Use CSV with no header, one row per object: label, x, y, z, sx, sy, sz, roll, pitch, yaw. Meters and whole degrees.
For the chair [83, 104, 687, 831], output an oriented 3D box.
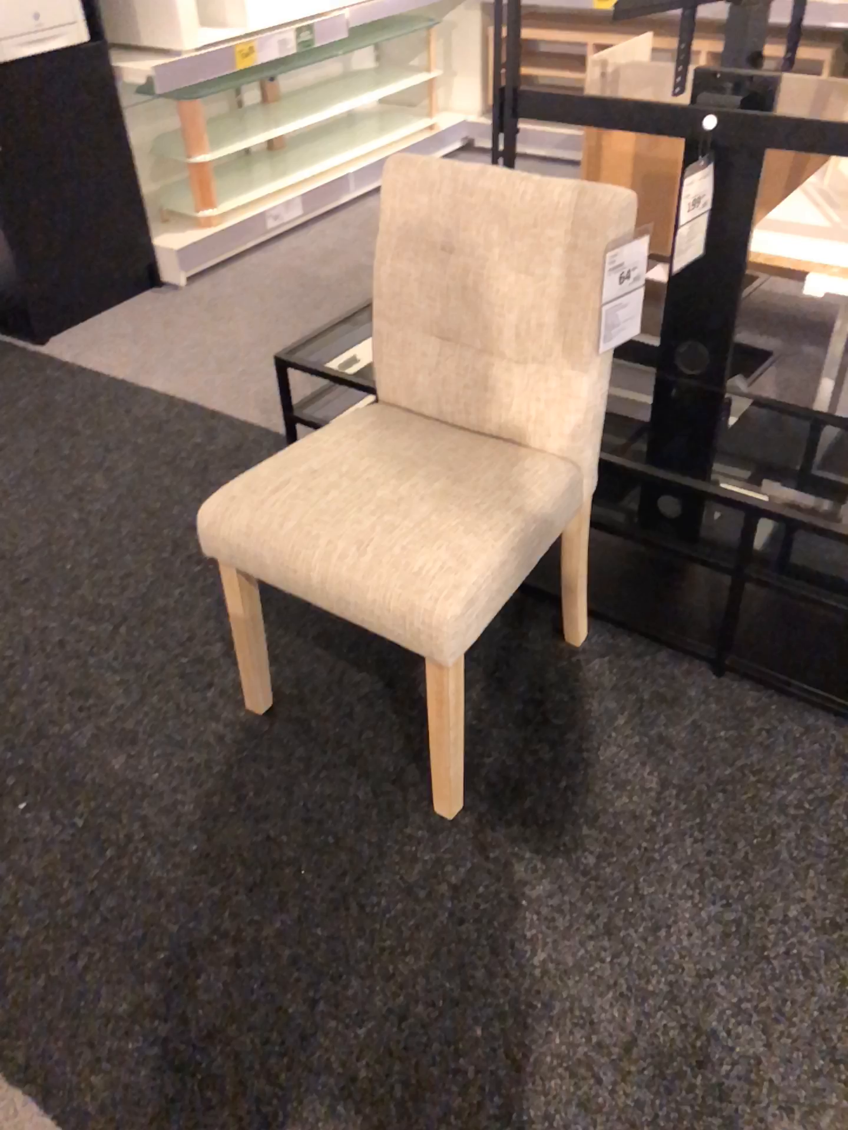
chair,-0.021,-0.168,1.460,0.550,0.855,0.563,23,45,28
